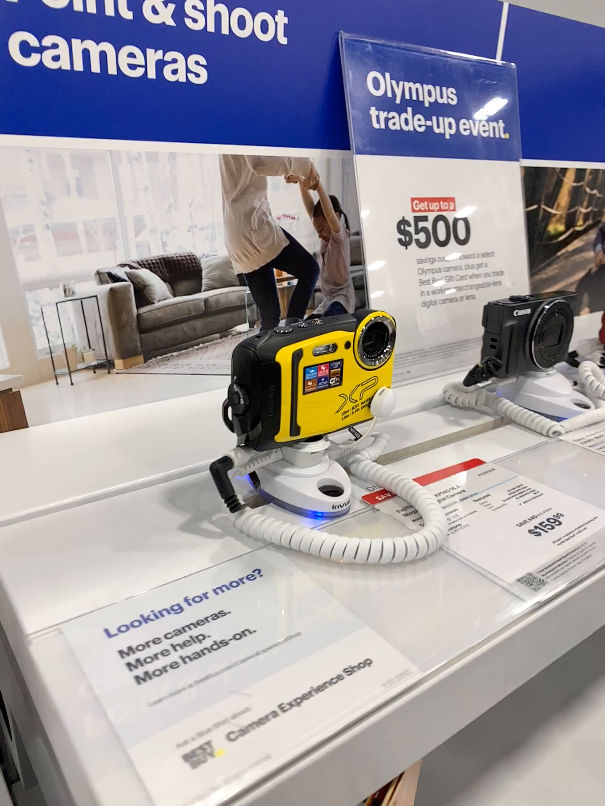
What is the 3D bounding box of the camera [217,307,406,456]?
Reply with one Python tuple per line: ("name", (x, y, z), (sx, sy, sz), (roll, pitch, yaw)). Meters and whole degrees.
("camera", (0.008, -0.016, 0.355), (0.110, 0.060, 0.030), (-14, 25, -35))
